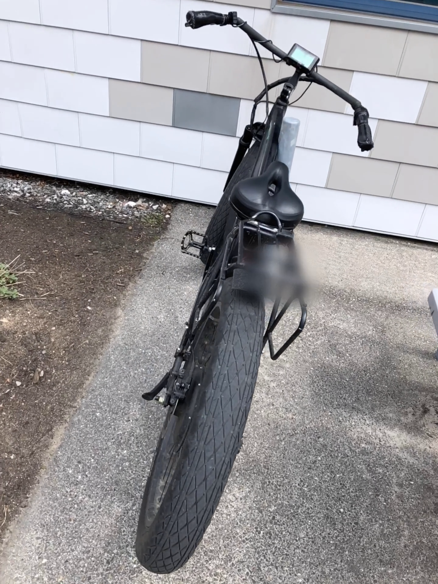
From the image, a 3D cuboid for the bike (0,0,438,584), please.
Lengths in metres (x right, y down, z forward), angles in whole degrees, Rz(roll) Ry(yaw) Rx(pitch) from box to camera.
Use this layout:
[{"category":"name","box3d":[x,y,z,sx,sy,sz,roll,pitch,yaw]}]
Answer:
[{"category":"bike","box3d":[0.230,-0.277,1.730,0.876,1.170,2.127,10,38,5]}]
